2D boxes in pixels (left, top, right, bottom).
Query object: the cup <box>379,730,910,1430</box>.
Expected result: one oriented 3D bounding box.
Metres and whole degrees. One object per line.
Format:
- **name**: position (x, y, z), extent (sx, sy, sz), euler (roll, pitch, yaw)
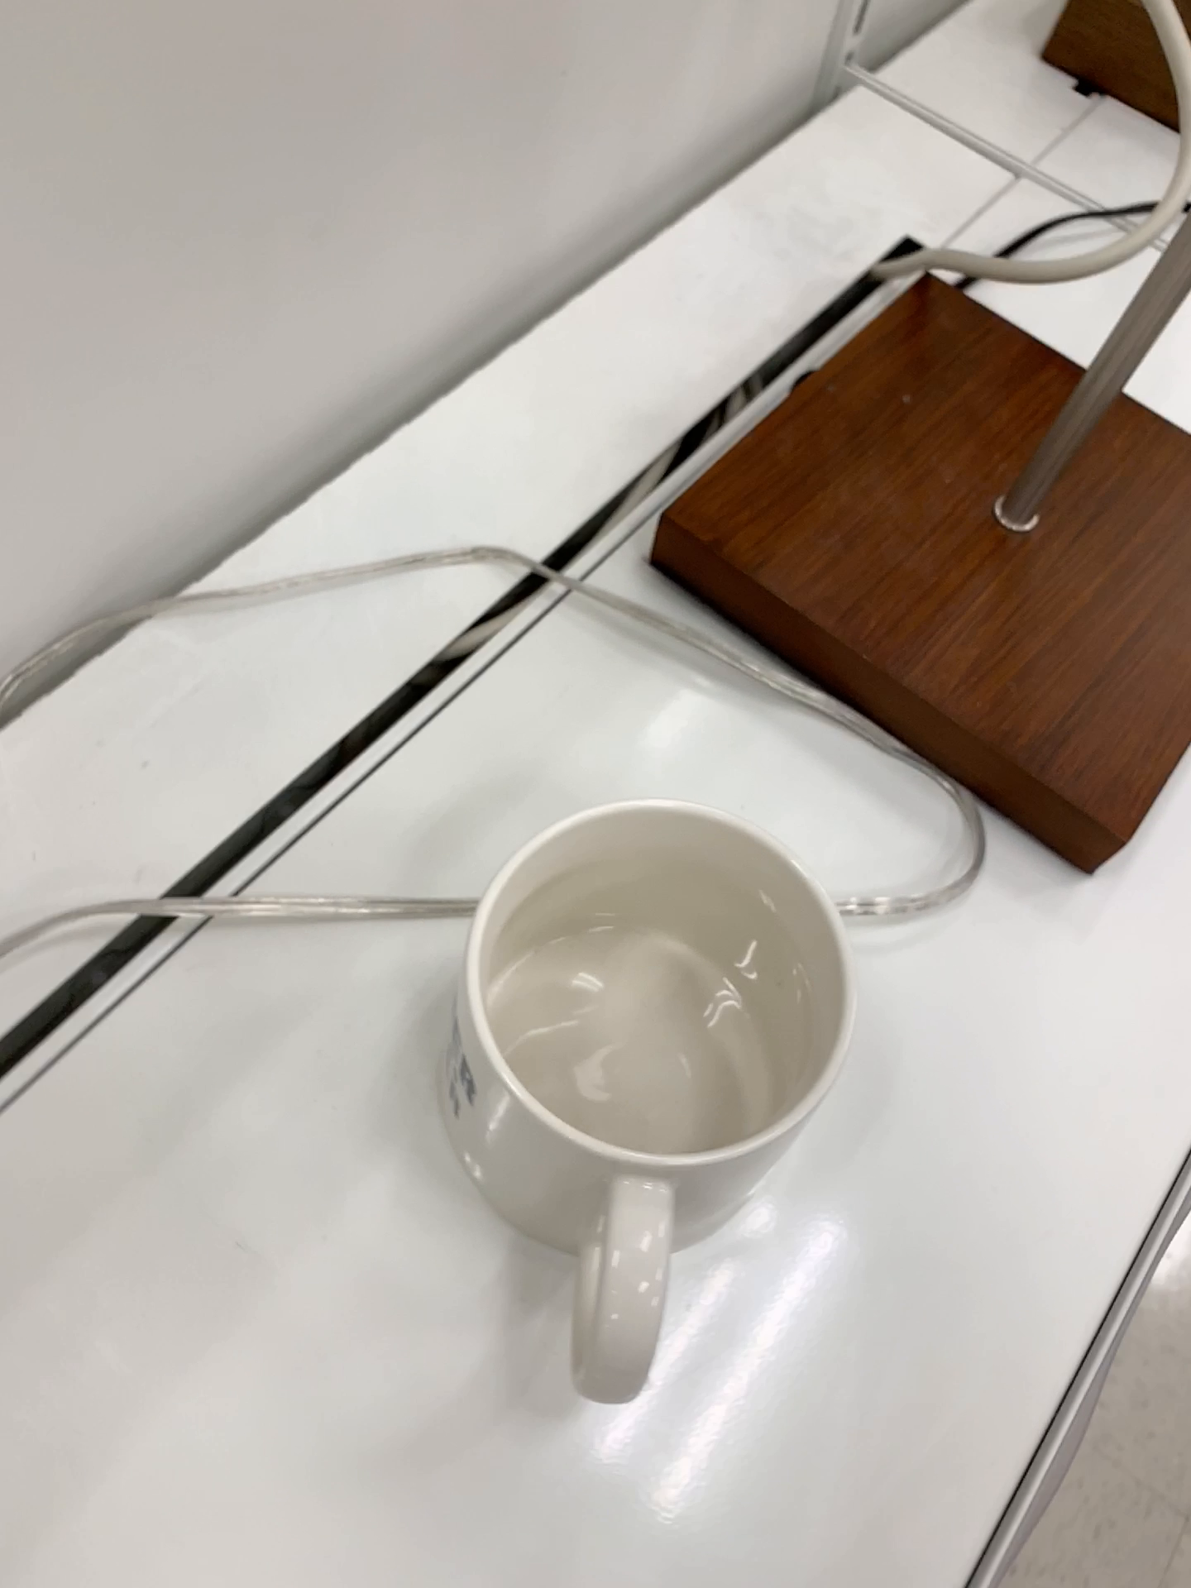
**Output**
- **cup**: position (0.013, 0.089, 0.366), extent (0.120, 0.120, 0.160), euler (9, 60, -3)
